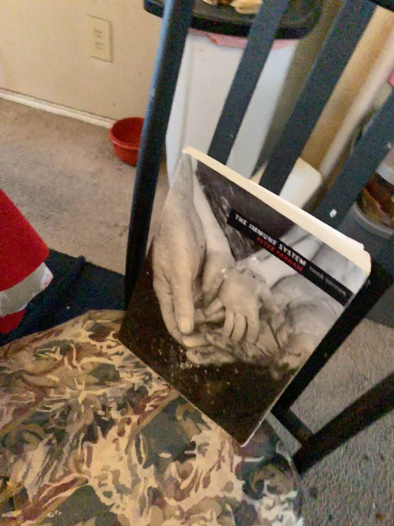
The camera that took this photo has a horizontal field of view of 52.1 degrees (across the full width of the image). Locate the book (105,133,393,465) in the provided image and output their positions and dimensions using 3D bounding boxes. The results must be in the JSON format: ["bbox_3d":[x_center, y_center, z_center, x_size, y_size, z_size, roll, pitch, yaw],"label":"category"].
[{"bbox_3d":[0.021,0.043,0.415,0.220,0.269,0.040,36,34,21],"label":"book"}]
